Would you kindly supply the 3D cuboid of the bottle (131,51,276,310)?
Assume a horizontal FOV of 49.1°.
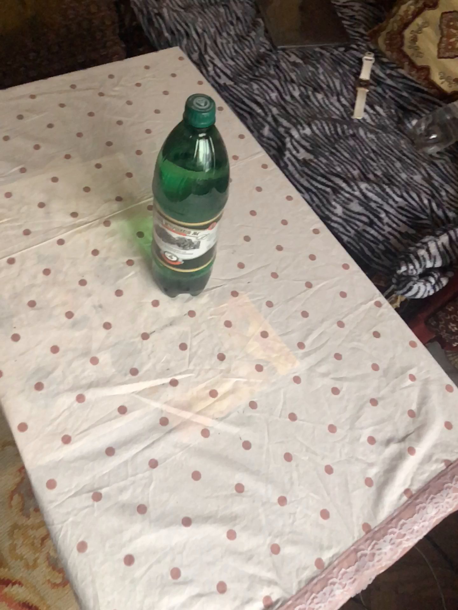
[{"bbox_3d":[-0.042,-0.120,0.577,0.100,0.279,0.100,5,60,-8],"label":"bottle"}]
